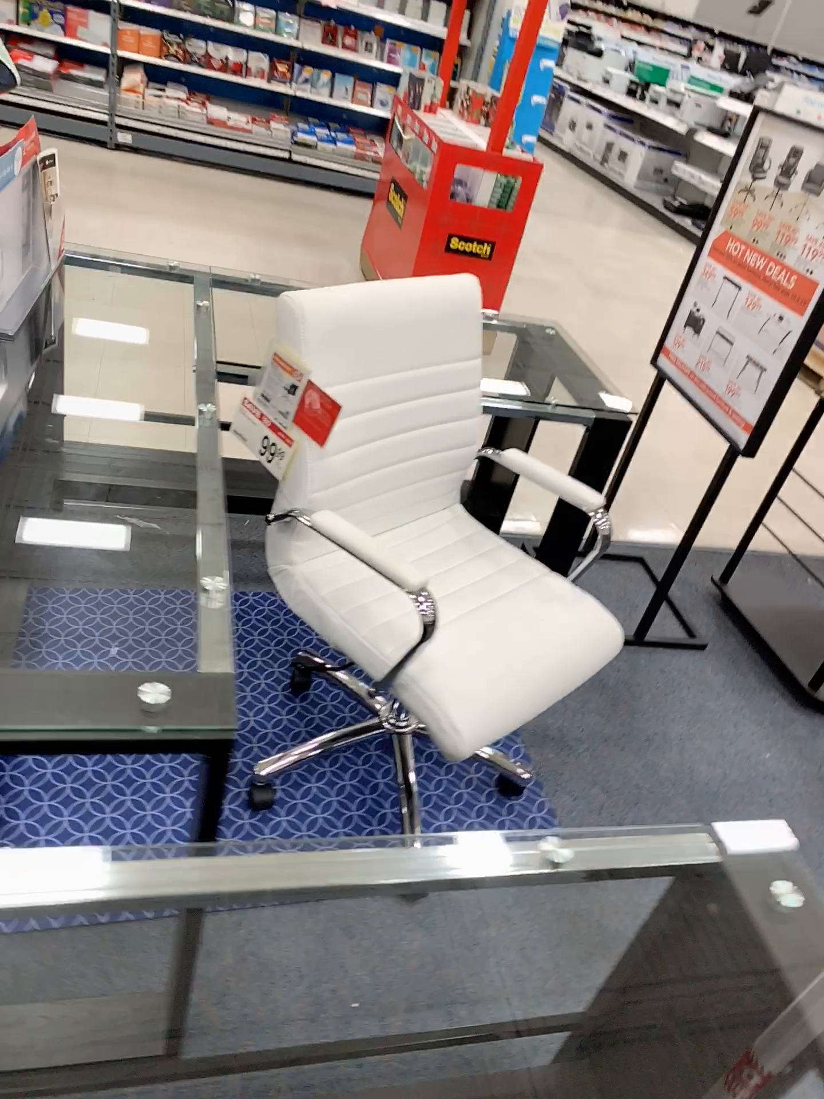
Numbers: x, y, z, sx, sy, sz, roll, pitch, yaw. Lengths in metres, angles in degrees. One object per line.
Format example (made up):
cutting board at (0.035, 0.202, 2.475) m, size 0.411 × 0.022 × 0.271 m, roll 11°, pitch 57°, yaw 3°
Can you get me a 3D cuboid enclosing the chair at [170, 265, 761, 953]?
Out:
chair at (0.033, 0.071, 1.601) m, size 0.662 × 0.963 × 0.616 m, roll 36°, pitch 38°, yaw 27°
